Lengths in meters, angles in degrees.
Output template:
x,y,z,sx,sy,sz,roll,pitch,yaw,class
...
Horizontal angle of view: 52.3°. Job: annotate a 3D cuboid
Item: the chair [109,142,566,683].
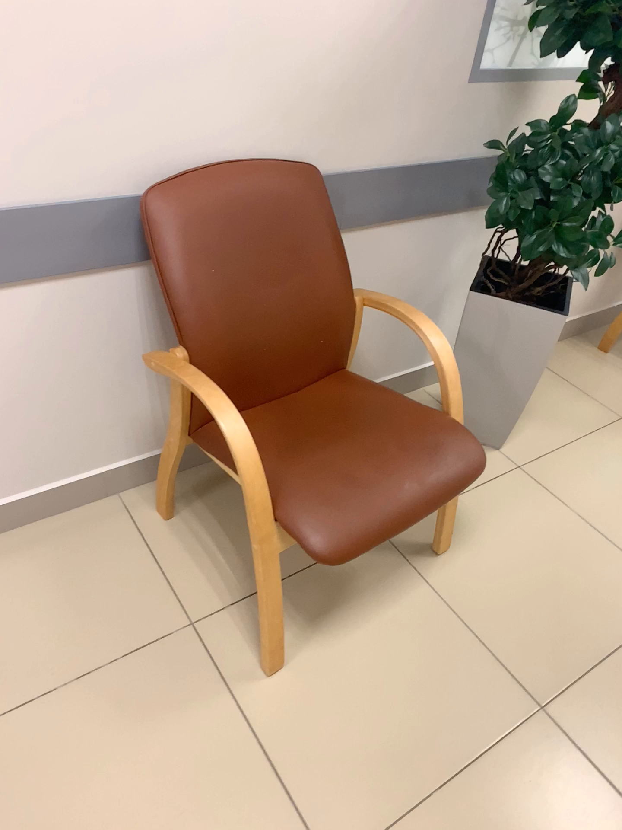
x,y,z,sx,sy,sz,roll,pitch,yaw,class
0.003,-0.030,1.537,0.672,0.984,0.602,-23,47,-34,chair
